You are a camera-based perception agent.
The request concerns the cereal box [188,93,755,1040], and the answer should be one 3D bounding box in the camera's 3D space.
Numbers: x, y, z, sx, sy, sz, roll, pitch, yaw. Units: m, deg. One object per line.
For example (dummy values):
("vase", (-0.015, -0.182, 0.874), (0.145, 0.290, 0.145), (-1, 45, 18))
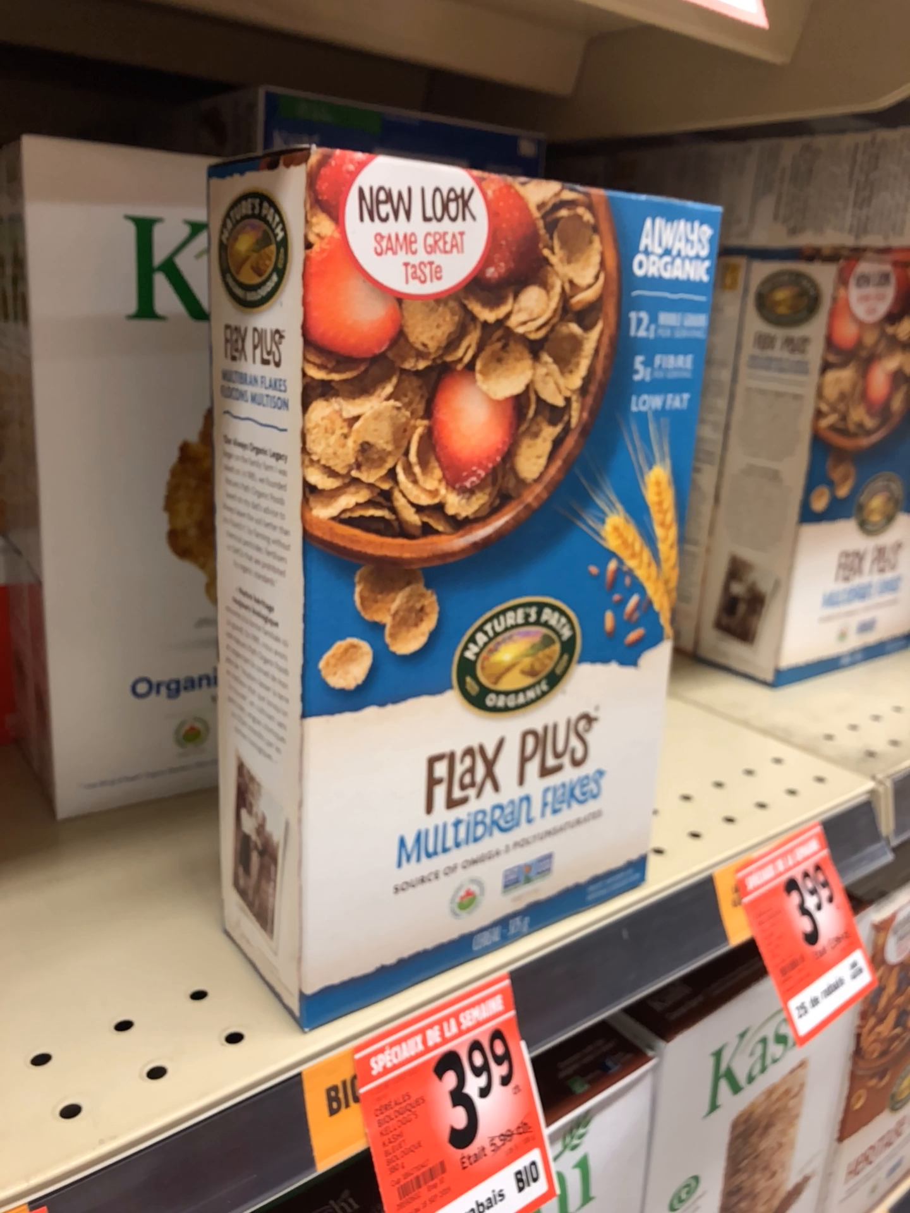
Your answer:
("cereal box", (0.003, -0.014, 0.356), (0.170, 0.269, 0.070), (-9, 21, -36))
